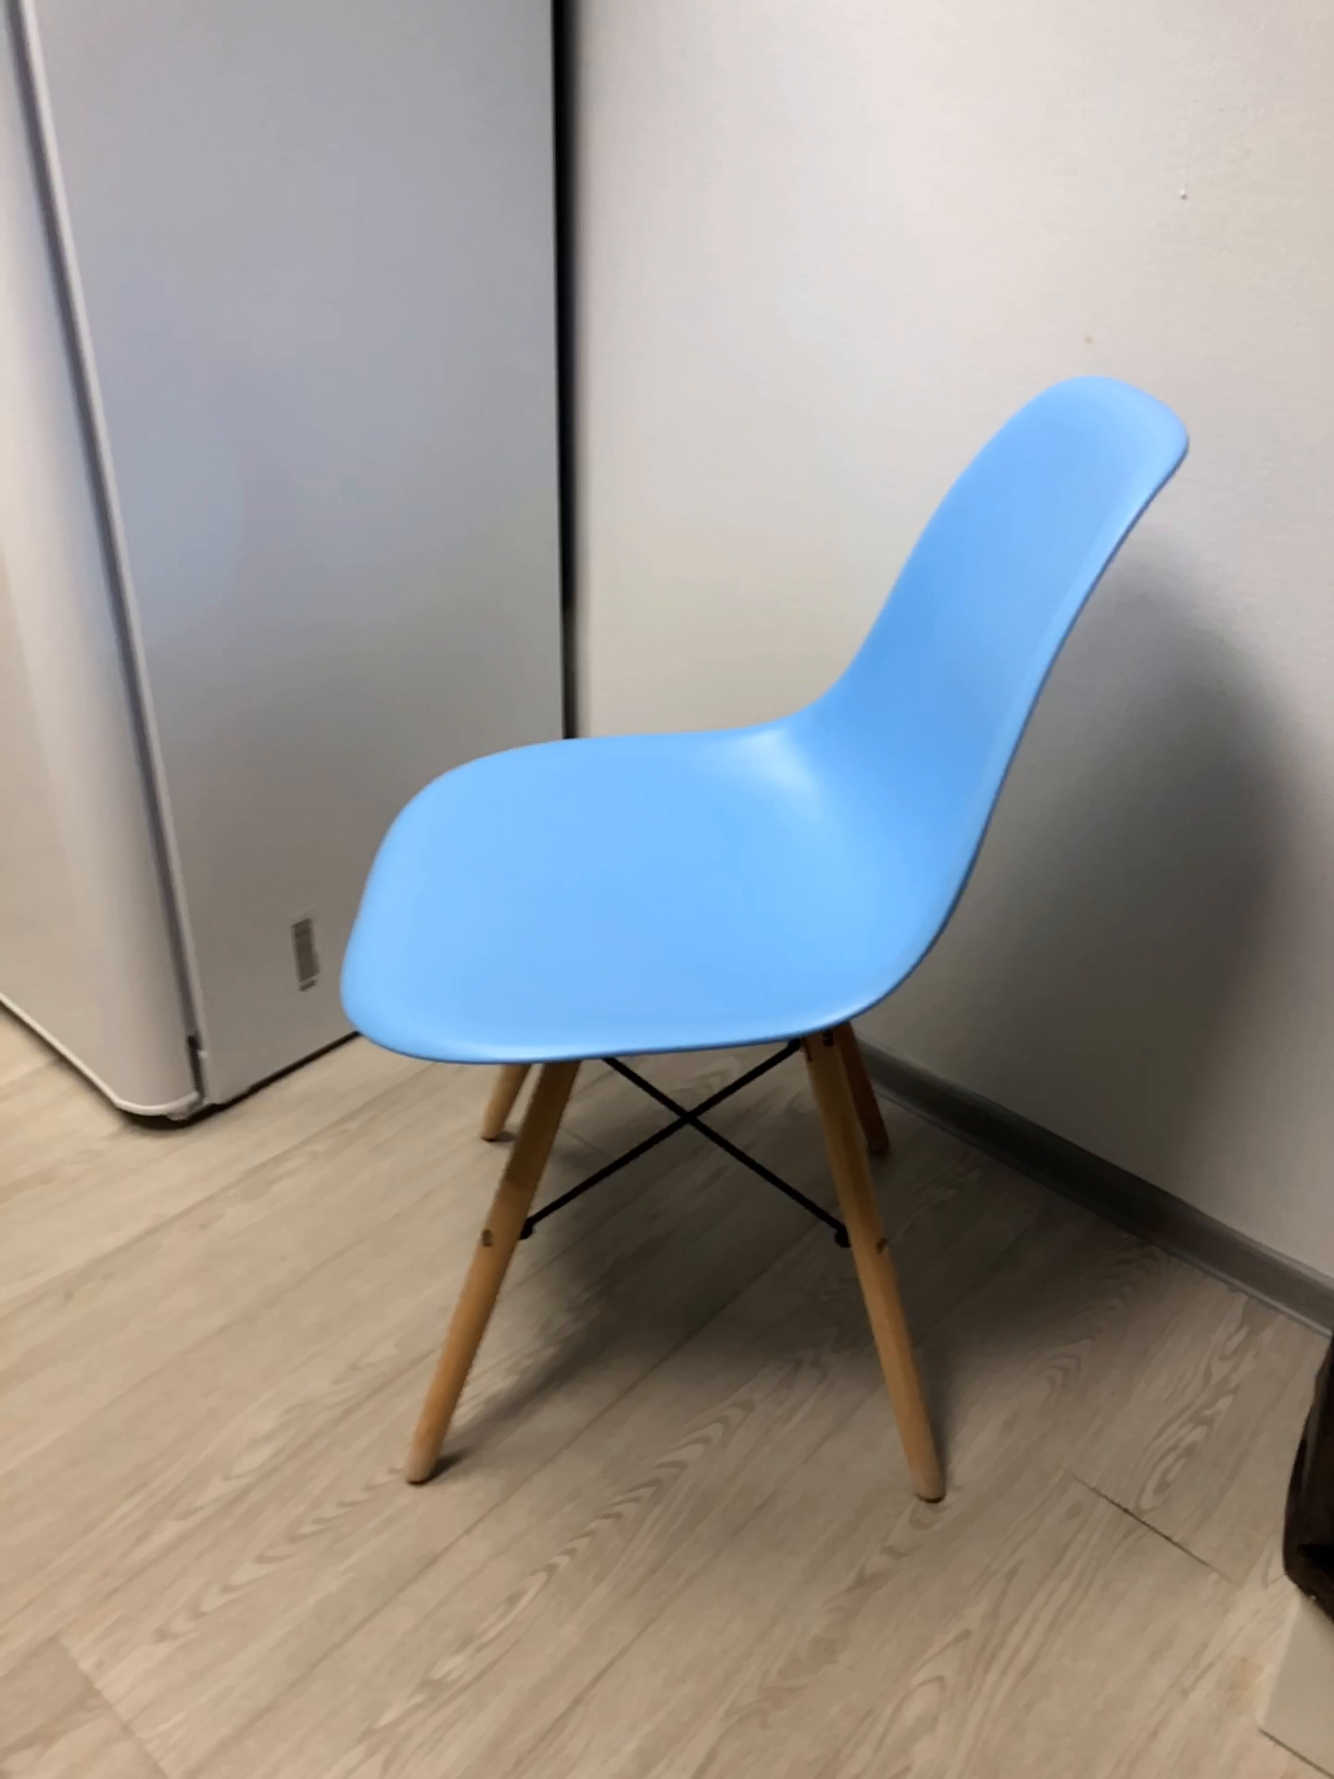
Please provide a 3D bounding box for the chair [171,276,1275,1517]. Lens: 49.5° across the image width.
[{"bbox_3d":[0.027,-0.002,1.087,0.530,0.775,0.463,3,30,2],"label":"chair"}]
